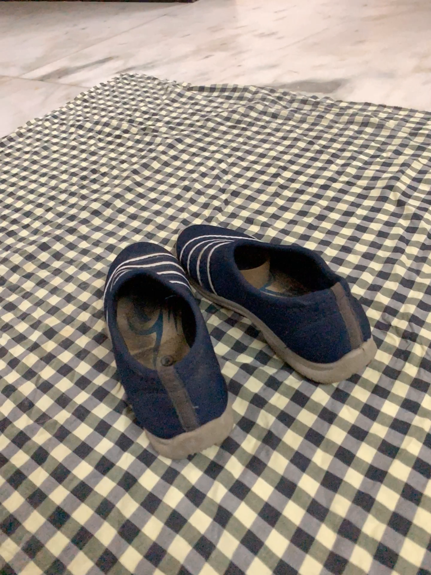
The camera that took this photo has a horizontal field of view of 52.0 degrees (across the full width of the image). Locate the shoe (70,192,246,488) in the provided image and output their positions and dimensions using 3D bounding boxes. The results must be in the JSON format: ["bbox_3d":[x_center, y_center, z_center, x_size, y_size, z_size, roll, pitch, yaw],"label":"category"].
[{"bbox_3d":[-0.063,0.026,0.403,0.090,0.099,0.252,-17,43,-9],"label":"shoe"}]

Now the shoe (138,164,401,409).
[{"bbox_3d":[0.034,-0.020,0.421,0.090,0.089,0.252,-29,46,-21],"label":"shoe"}]
